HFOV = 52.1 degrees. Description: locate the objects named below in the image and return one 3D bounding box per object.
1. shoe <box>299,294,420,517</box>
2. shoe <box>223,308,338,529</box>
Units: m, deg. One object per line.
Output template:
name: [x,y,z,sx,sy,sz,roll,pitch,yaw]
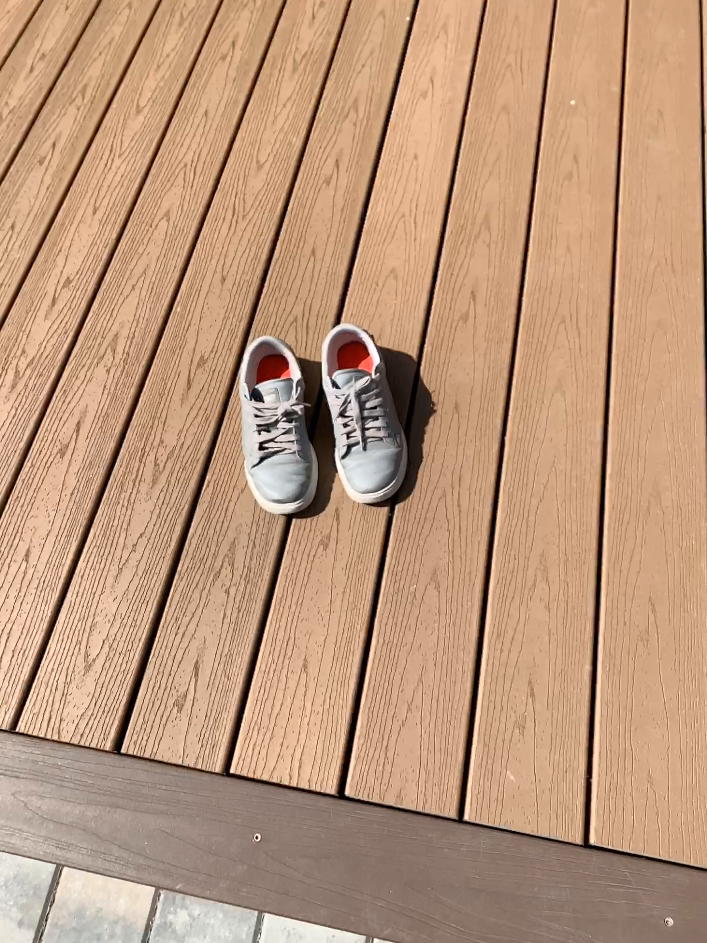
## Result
shoe: [0.007,-0.097,1.027,0.120,0.100,0.291,-10,63,0]
shoe: [-0.104,-0.077,1.010,0.120,0.100,0.281,-9,63,1]
